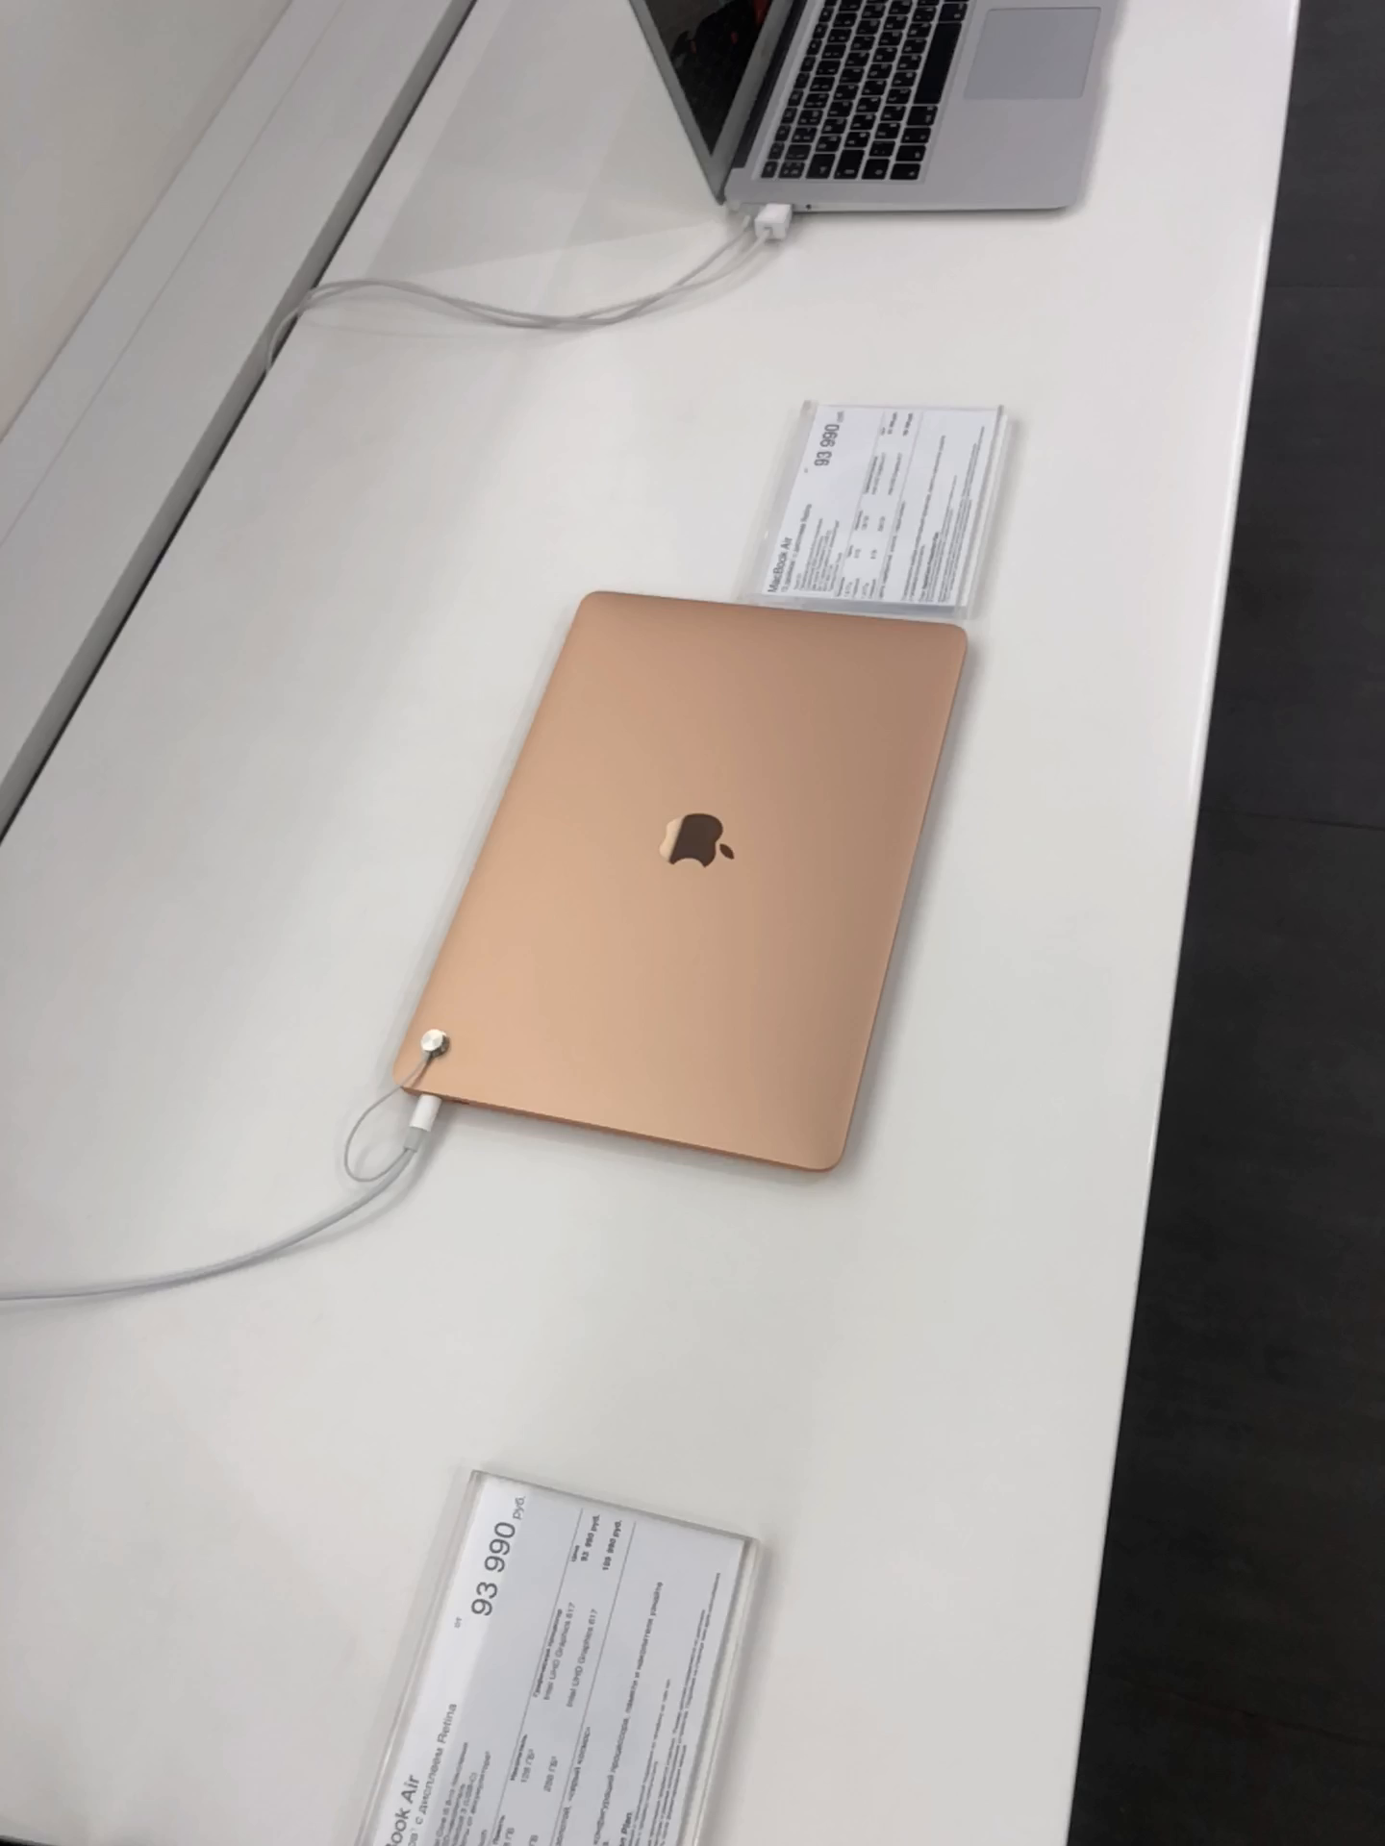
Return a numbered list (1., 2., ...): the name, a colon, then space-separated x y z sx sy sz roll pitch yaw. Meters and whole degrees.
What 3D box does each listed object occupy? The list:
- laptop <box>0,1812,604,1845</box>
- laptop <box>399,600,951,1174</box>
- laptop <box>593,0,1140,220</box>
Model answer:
1. laptop: -0.231 0.443 0.383 0.312 0.180 0.304 8 62 16
2. laptop: -0.001 -0.035 0.738 0.201 0.005 0.294 8 62 15
3. laptop: 0.129 -0.648 0.960 0.257 0.214 0.346 5 59 15
